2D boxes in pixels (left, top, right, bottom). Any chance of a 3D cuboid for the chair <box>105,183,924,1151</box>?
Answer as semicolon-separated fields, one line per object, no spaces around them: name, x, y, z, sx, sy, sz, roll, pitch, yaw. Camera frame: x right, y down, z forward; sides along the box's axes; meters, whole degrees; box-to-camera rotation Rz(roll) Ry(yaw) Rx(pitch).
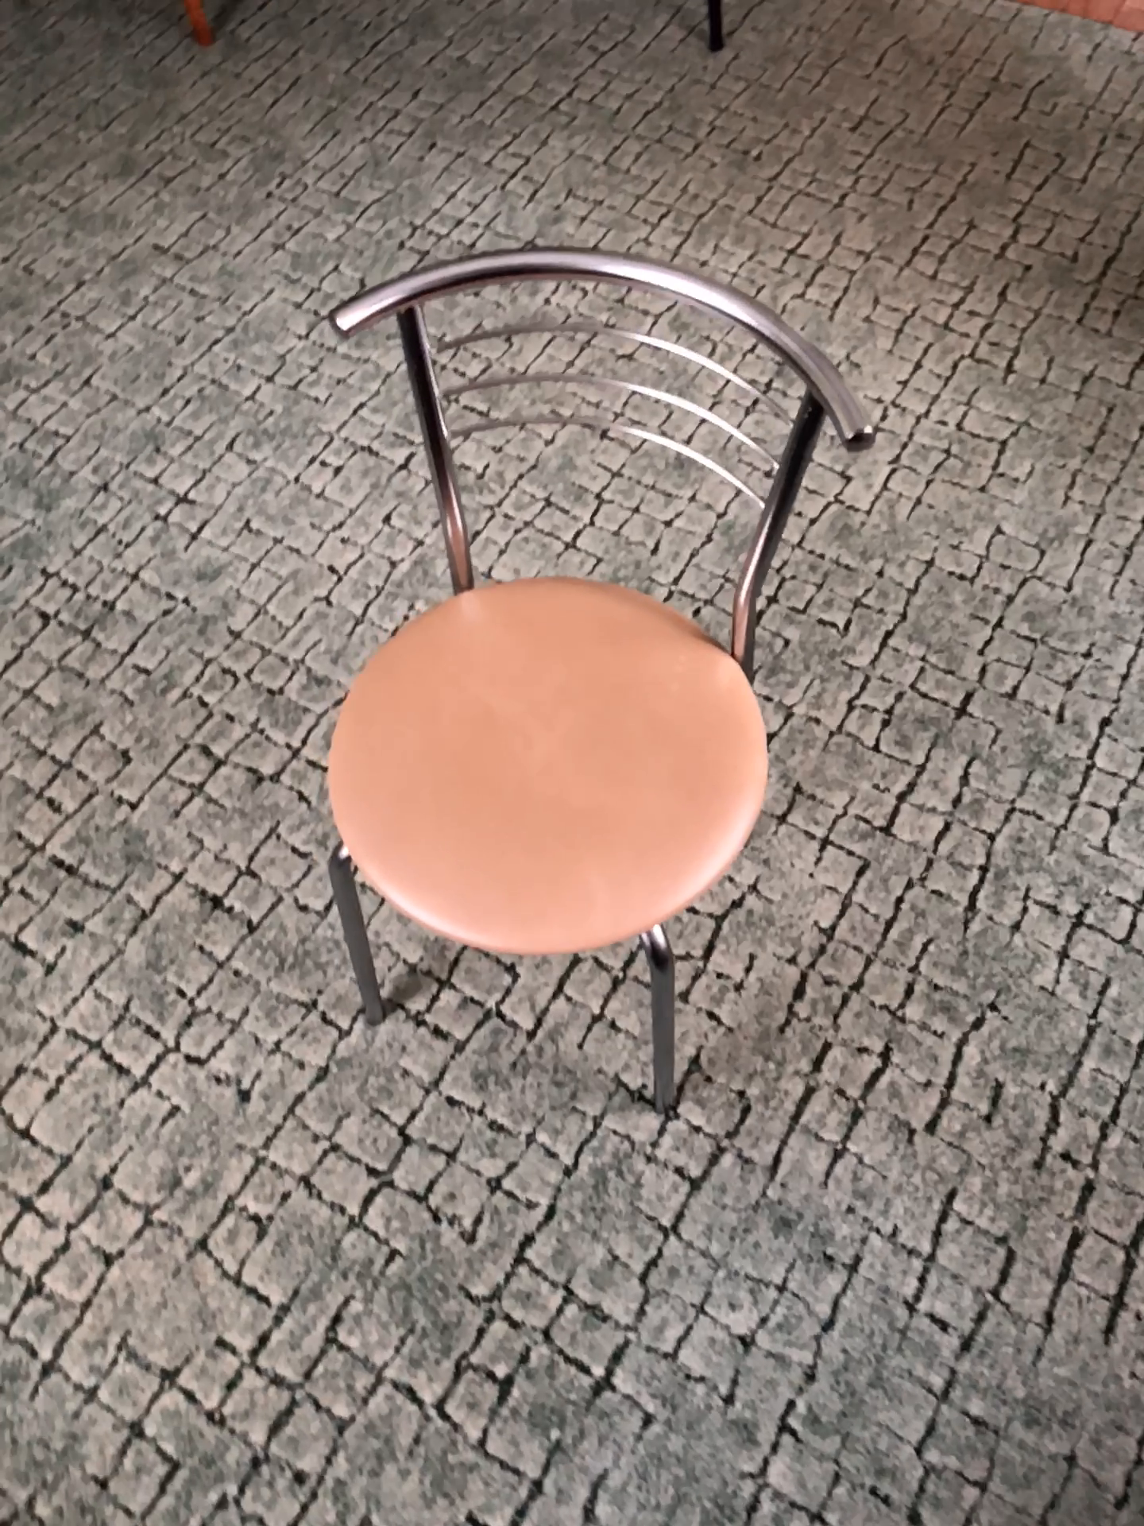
chair;-0.003;-0.023;1.211;0.443;0.804;0.453;15;59;11
